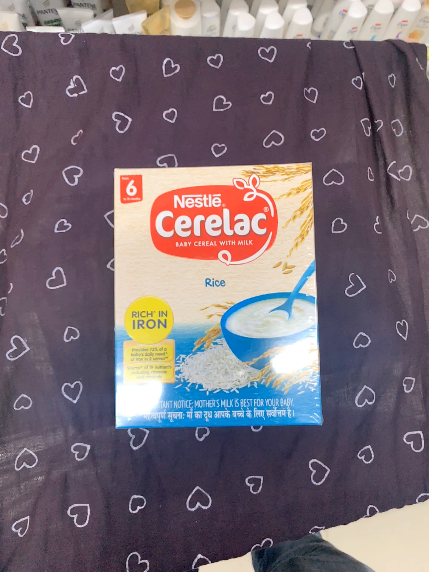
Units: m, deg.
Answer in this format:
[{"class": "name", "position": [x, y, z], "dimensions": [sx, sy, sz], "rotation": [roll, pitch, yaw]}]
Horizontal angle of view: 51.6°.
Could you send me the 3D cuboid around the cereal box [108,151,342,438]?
[{"class": "cereal box", "position": [0.005, 0.005, 0.338], "dimensions": [0.160, 0.040, 0.200], "rotation": [-2, 85, 0]}]
